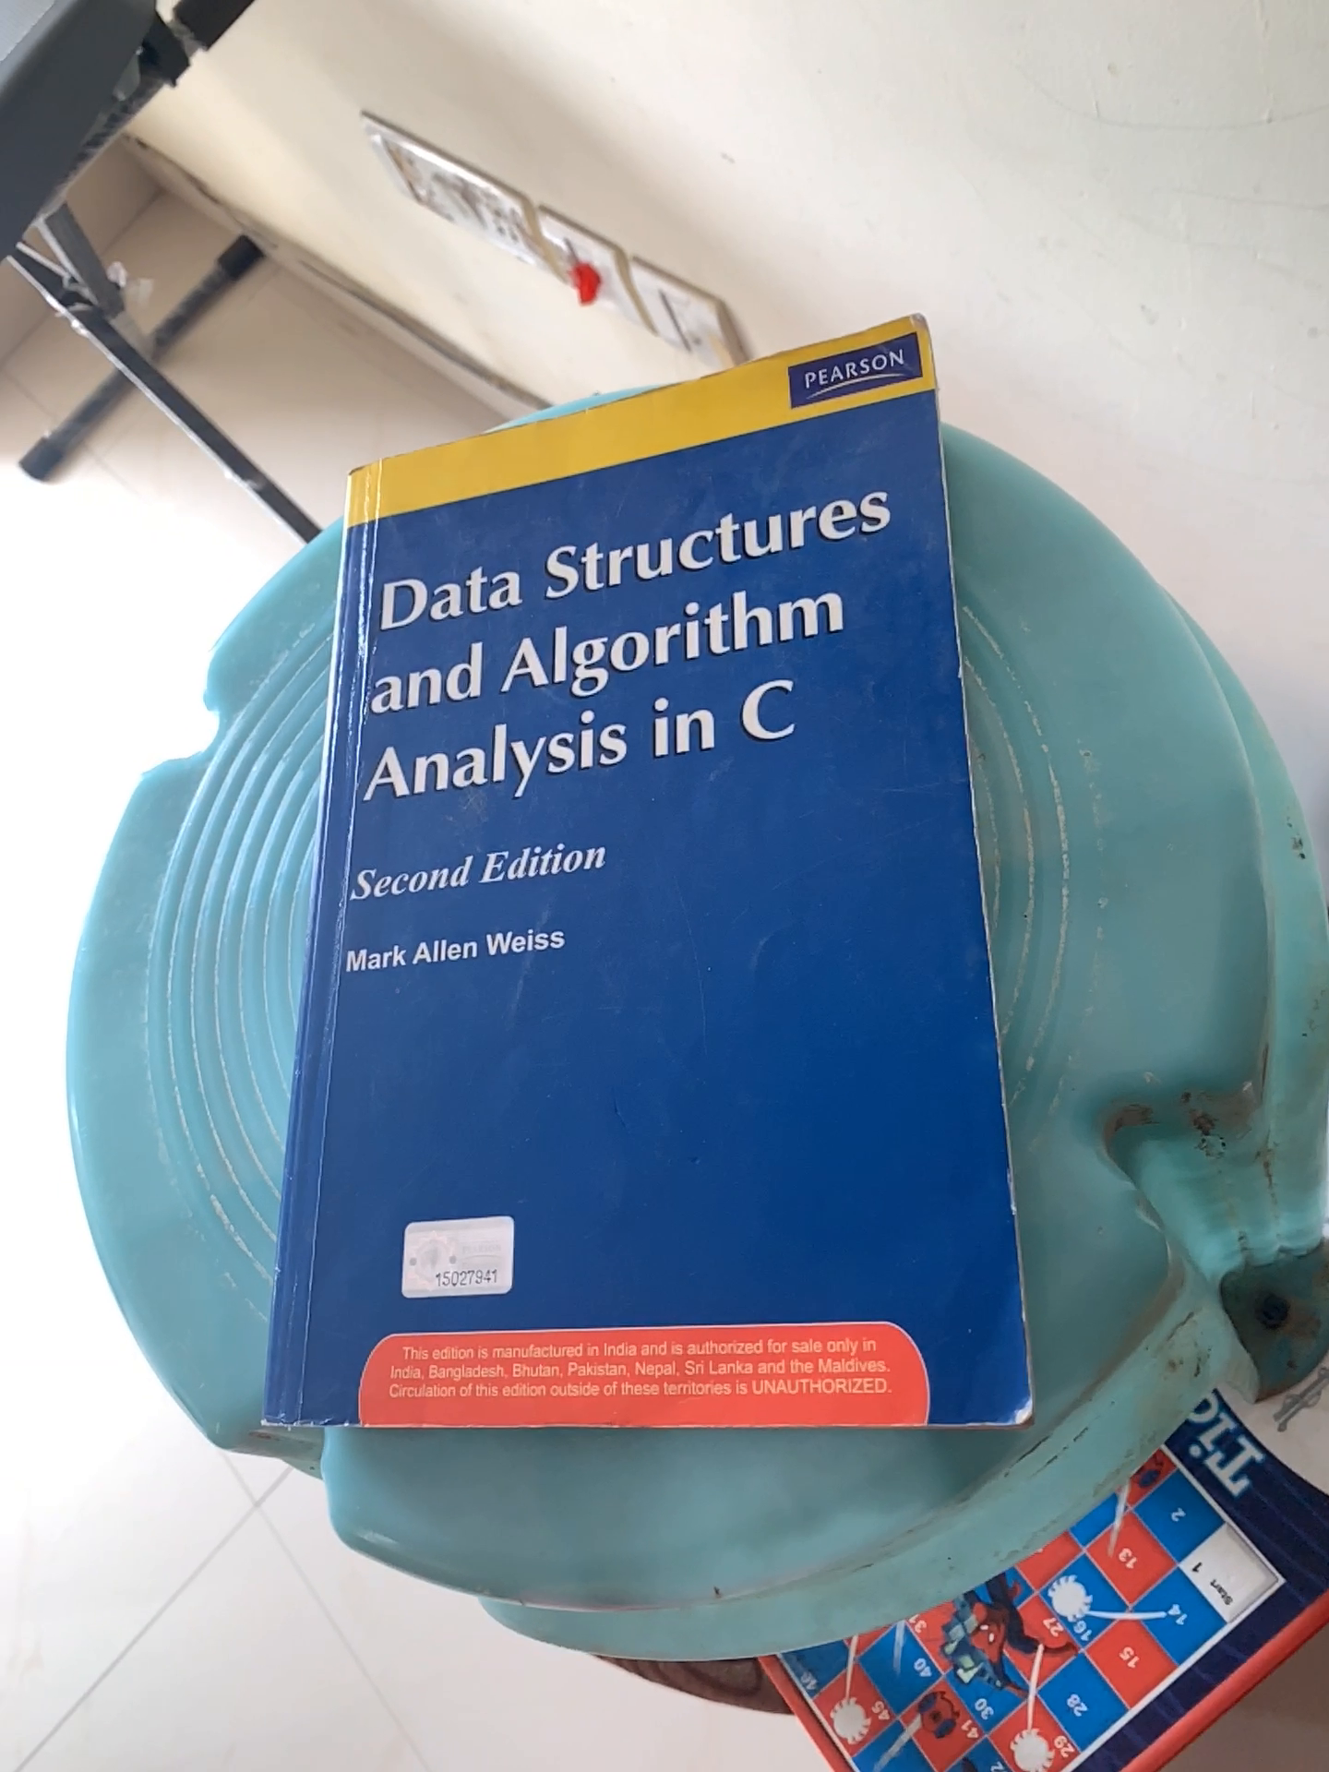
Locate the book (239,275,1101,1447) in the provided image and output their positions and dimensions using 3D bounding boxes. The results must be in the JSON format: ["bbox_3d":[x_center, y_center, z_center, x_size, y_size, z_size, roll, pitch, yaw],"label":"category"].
[{"bbox_3d":[-0.004,-0.008,0.300,0.160,0.030,0.241,-8,68,18],"label":"book"}]
